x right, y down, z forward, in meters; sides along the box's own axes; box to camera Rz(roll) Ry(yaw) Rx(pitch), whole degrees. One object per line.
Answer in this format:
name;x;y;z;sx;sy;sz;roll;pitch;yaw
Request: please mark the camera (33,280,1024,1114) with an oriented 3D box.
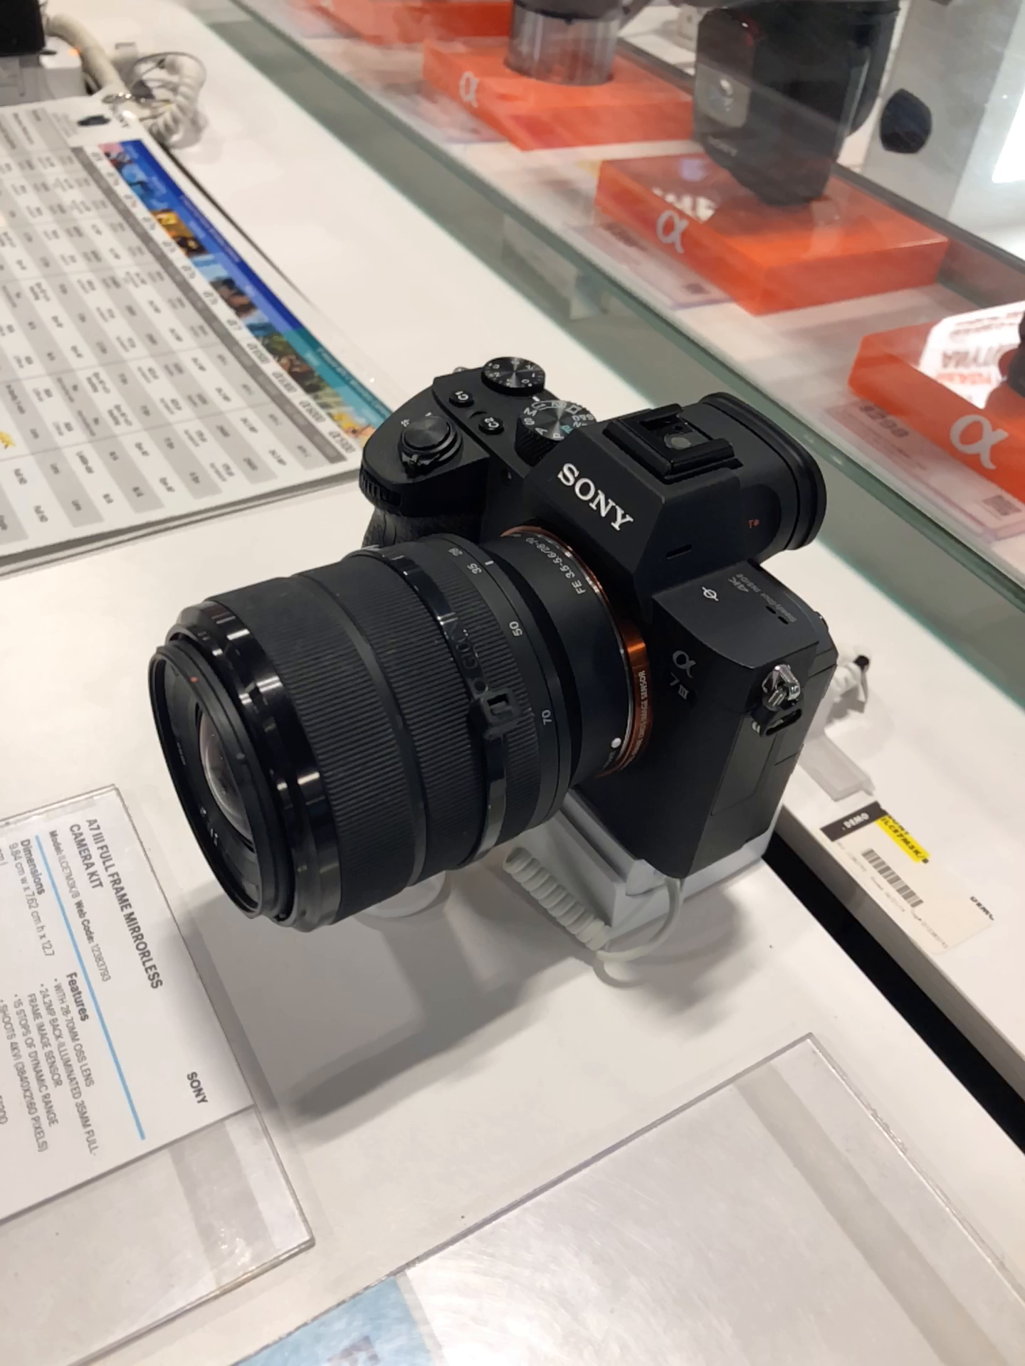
camera;-0.002;-0.015;0.265;0.160;0.079;0.141;-20;49;-27
